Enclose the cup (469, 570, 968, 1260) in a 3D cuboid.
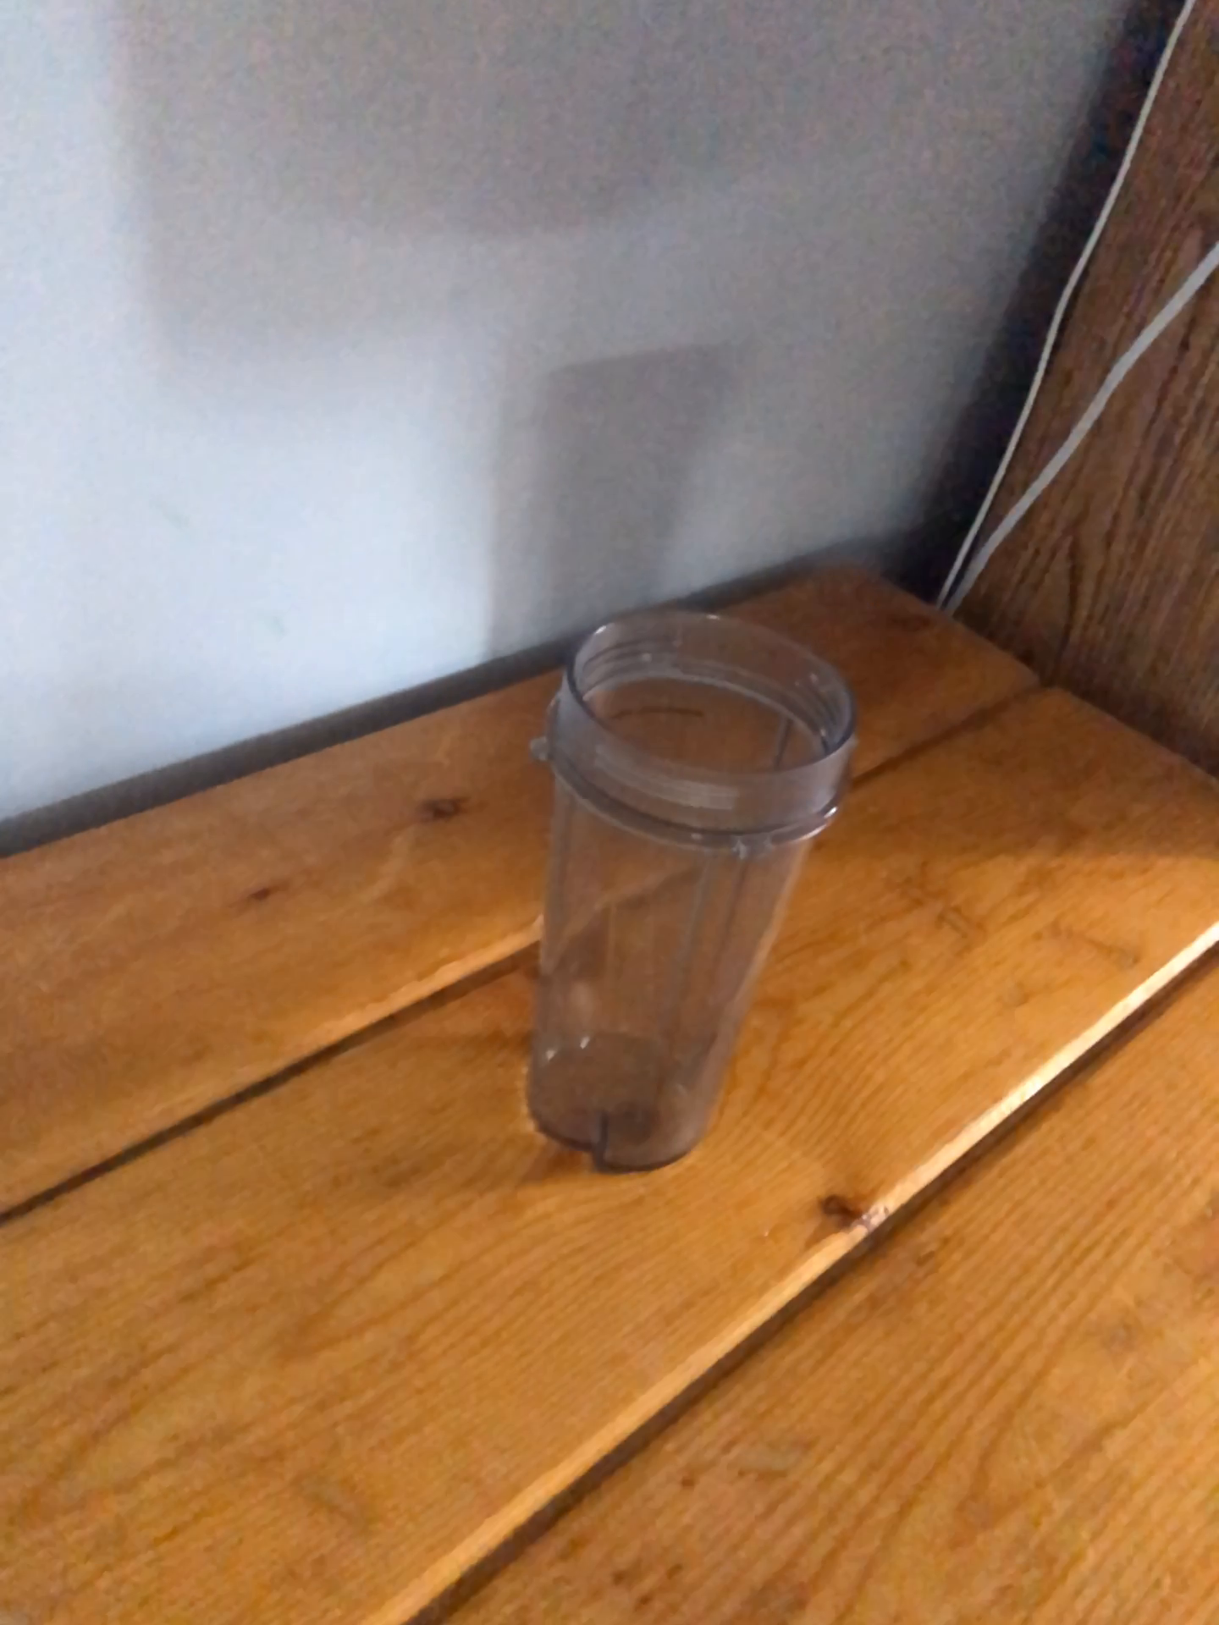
[{"bbox_3d":[0.026,0.037,0.429,0.090,0.189,0.080,33,43,23],"label":"cup"}]
